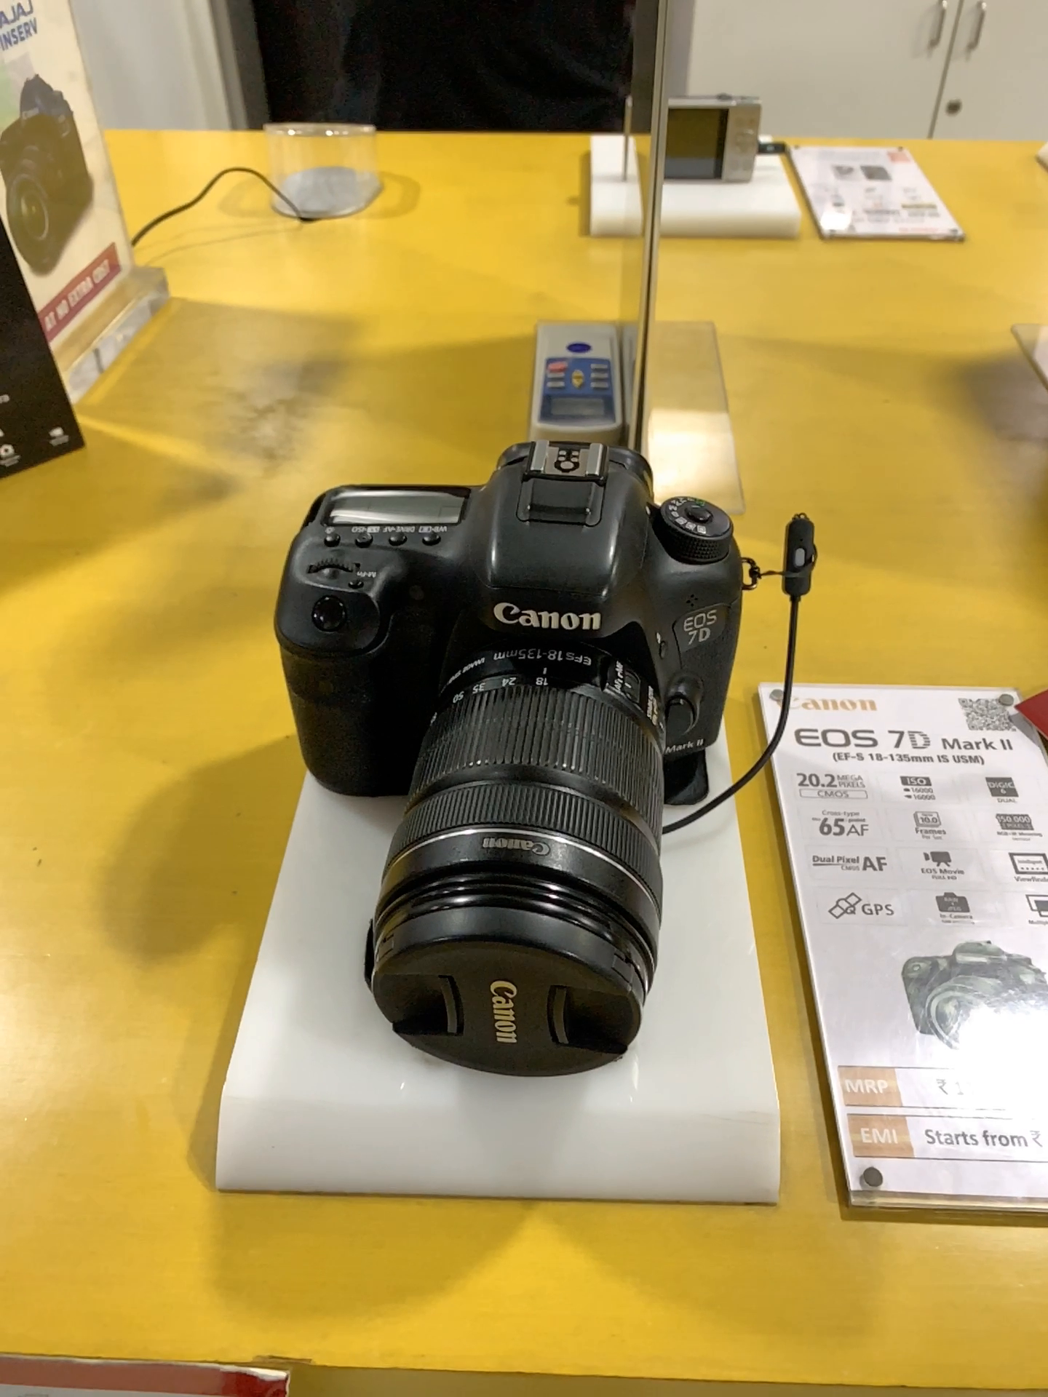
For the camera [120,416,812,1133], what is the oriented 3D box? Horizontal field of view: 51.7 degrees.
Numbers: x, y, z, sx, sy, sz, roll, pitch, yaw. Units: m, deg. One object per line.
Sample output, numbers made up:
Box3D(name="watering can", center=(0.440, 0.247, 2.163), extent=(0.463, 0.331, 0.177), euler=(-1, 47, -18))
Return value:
Box3D(name="camera", center=(-0.005, 0.015, 0.316), extent=(0.140, 0.120, 0.161), euler=(4, 43, 4))
